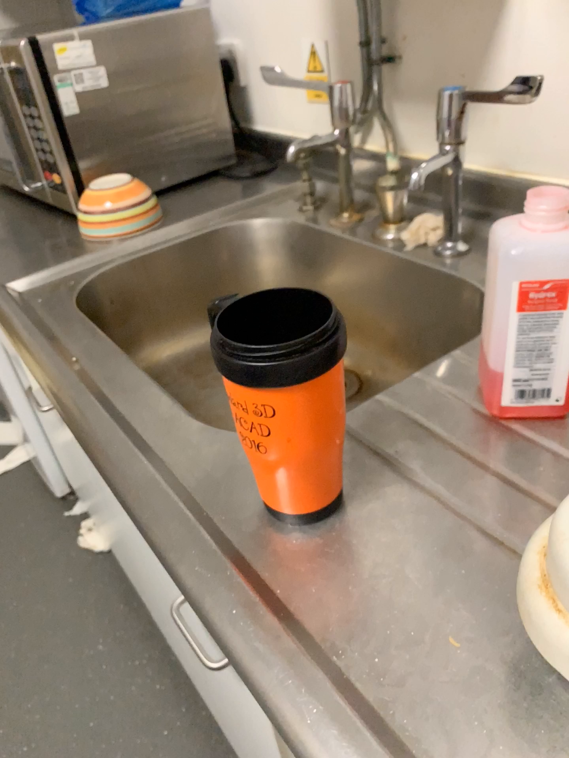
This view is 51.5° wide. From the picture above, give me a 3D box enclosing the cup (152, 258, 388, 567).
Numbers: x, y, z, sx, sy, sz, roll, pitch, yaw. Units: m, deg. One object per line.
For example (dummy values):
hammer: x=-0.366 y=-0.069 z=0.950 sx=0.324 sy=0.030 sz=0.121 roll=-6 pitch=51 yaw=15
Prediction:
cup: x=-0.007 y=0.019 z=0.433 sx=0.090 sy=0.164 sz=0.135 roll=-28 pitch=38 yaw=-26
